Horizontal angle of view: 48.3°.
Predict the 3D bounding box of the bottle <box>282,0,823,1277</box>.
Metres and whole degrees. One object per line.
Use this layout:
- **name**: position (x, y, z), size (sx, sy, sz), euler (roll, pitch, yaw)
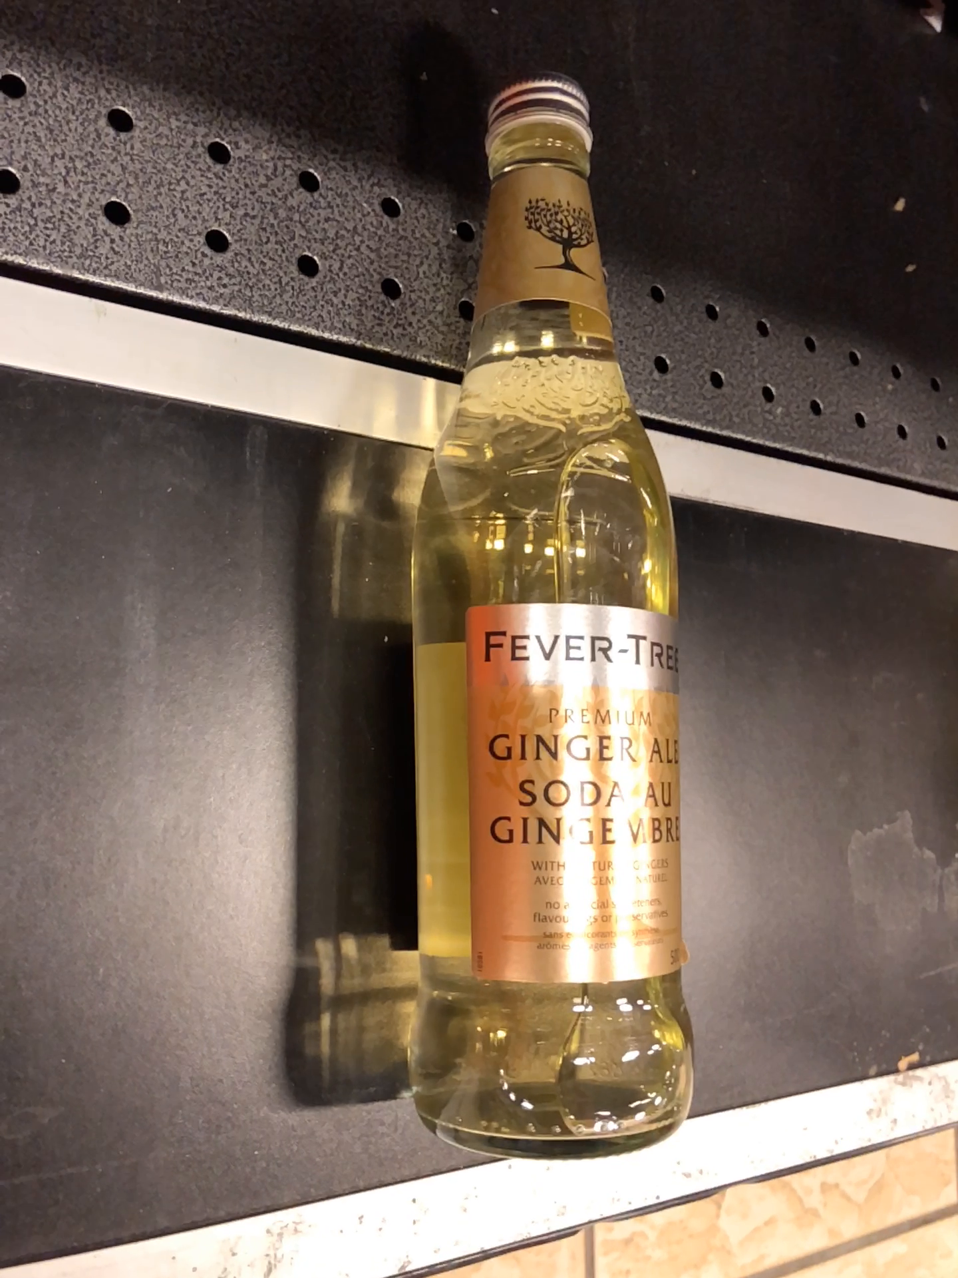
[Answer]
- **bottle**: position (0.012, 0.005, 0.271), size (0.090, 0.090, 0.280), euler (5, 79, -32)
